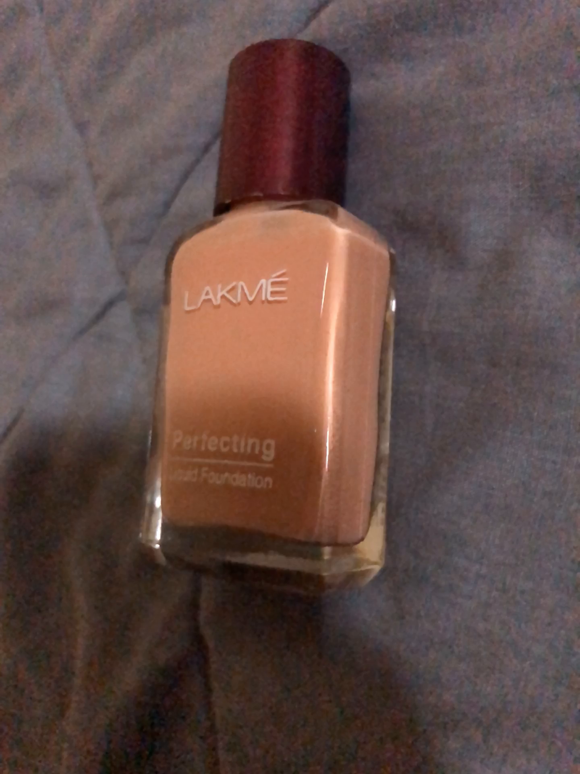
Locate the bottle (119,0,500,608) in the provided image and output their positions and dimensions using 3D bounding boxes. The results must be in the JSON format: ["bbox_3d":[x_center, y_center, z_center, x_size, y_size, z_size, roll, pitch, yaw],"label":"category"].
[{"bbox_3d":[0.005,-0.023,0.122,0.050,0.030,0.110,0,80,36],"label":"bottle"}]
